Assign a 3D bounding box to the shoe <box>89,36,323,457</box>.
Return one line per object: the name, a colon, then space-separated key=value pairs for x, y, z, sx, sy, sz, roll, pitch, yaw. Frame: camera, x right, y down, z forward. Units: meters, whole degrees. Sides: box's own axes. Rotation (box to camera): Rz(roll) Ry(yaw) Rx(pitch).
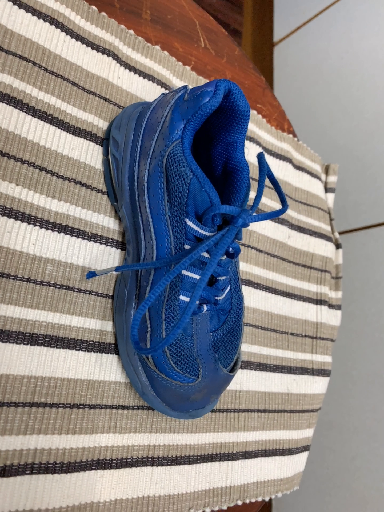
shoe: x=0.003 y=-0.004 z=0.217 sx=0.074 sy=0.079 sz=0.175 roll=-2 pitch=83 yaw=-39
